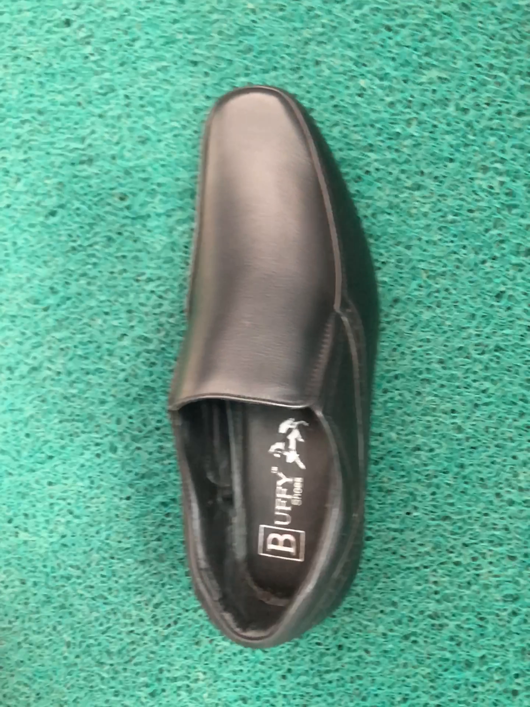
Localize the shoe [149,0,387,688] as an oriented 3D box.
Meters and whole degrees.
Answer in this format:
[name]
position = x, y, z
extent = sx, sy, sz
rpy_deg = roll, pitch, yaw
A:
[shoe]
position = 0.007, -0.007, 0.317
extent = 0.100, 0.090, 0.310
rpy_deg = -1, 90, 17
